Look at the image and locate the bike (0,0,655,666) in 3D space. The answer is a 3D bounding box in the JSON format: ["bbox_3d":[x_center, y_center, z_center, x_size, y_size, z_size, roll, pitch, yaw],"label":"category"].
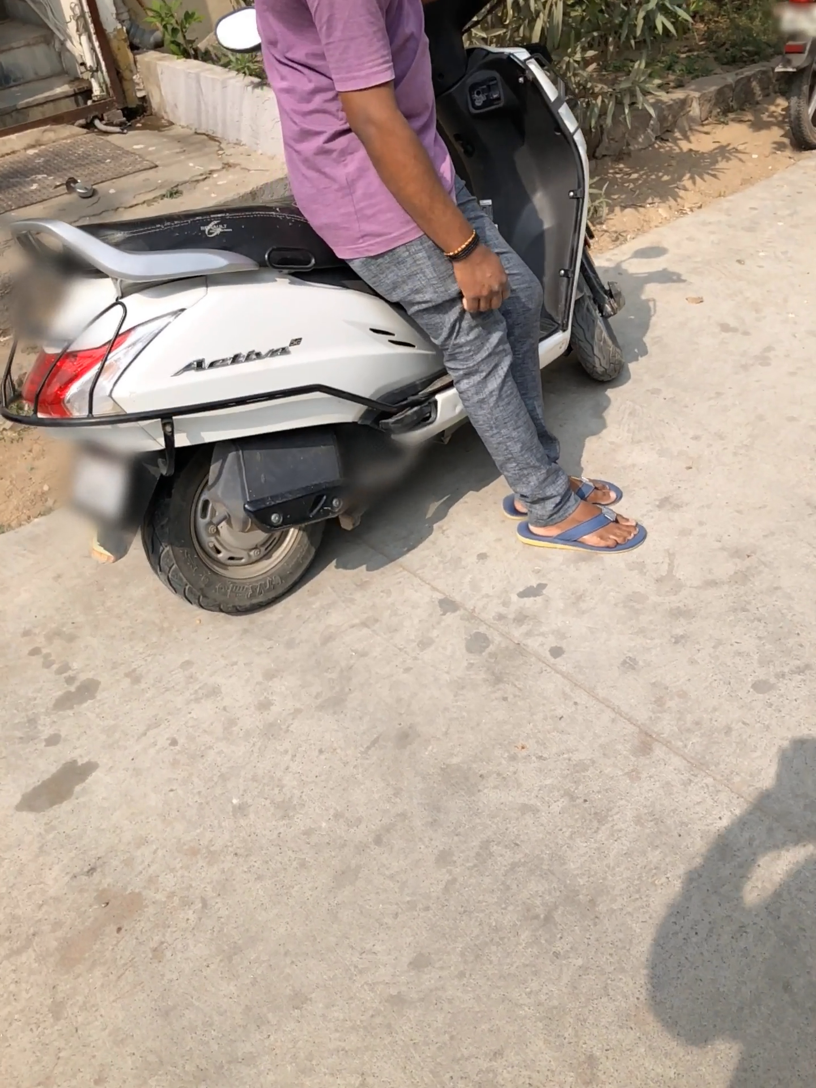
[{"bbox_3d":[-0.120,-0.681,2.018,0.647,1.008,1.529,24,49,32],"label":"bike"}]
